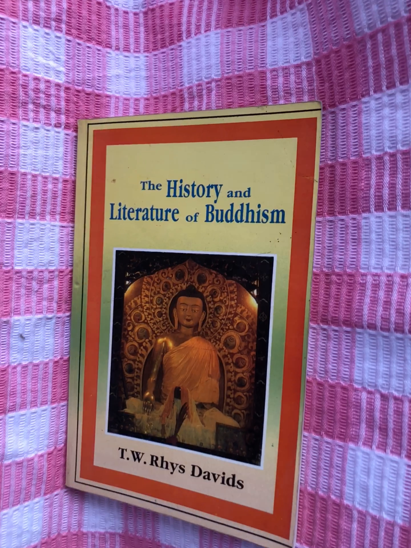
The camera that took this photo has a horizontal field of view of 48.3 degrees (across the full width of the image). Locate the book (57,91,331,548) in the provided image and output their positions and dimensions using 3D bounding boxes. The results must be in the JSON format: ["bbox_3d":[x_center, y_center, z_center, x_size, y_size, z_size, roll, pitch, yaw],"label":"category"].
[{"bbox_3d":[-0.013,0.024,0.246,0.020,0.139,0.220,0,94,-65],"label":"book"}]
